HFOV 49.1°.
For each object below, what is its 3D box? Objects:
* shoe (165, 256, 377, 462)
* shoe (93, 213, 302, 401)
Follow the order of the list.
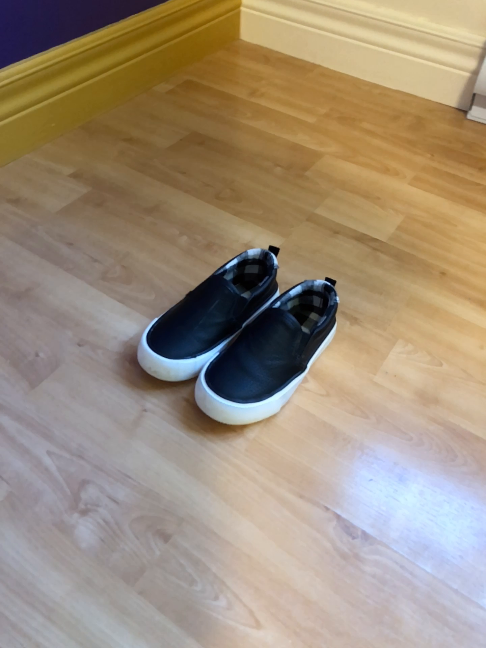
[{"bbox_3d":[0.028,0.023,0.472,0.080,0.060,0.180,36,56,26],"label":"shoe"},{"bbox_3d":[-0.036,-0.023,0.495,0.080,0.060,0.180,35,55,25],"label":"shoe"}]
